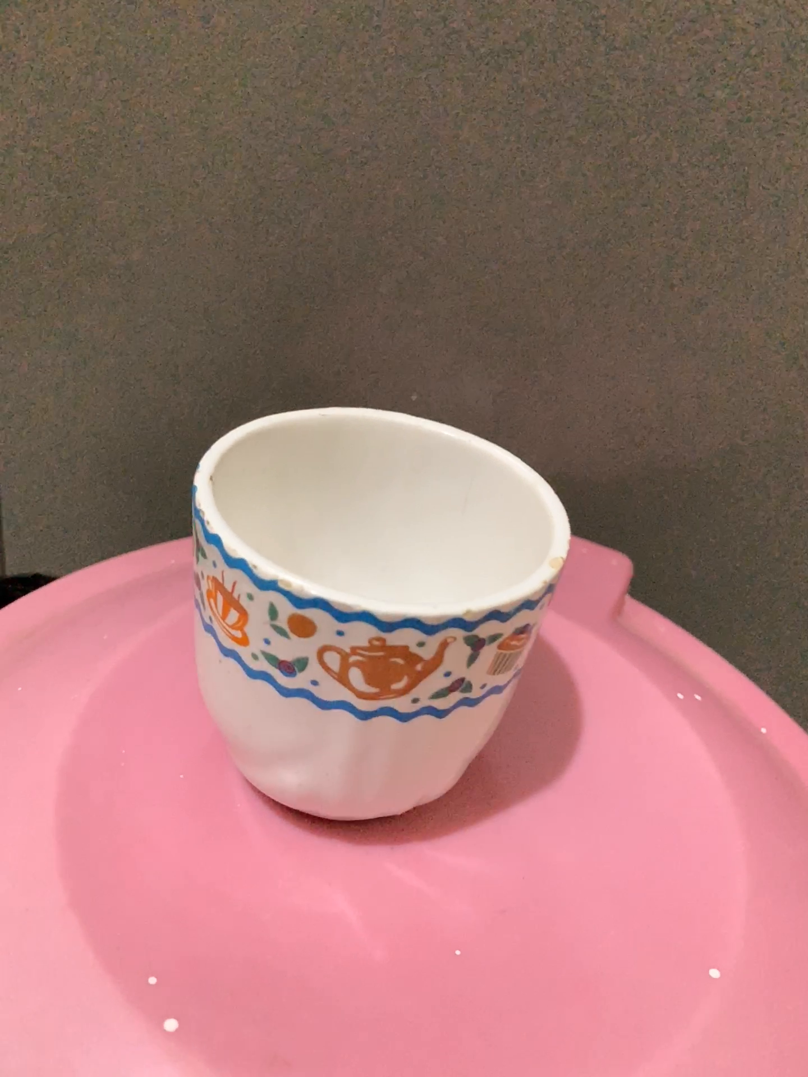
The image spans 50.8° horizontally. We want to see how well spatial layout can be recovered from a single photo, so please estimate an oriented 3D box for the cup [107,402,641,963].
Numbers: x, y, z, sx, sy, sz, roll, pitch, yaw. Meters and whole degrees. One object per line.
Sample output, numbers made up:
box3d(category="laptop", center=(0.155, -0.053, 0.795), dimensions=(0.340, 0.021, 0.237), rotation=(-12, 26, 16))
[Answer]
box3d(category="cup", center=(-0.008, 0.020, 0.171), dimensions=(0.070, 0.060, 0.070), rotation=(8, 30, -5))
